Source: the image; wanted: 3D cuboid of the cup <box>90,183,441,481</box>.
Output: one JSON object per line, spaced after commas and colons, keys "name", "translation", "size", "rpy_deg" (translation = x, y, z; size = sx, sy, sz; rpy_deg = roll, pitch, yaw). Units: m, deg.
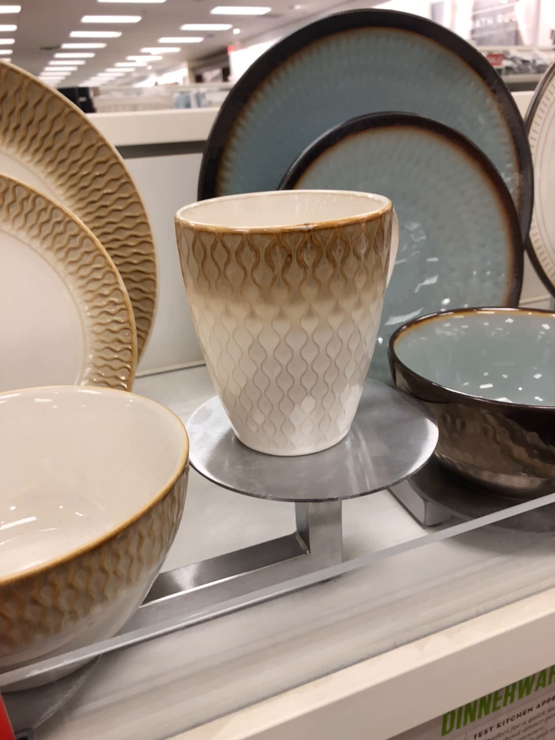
{"name": "cup", "translation": [0.005, -0.031, 0.283], "size": [0.100, 0.089, 0.129], "rpy_deg": [10, 26, 29]}
